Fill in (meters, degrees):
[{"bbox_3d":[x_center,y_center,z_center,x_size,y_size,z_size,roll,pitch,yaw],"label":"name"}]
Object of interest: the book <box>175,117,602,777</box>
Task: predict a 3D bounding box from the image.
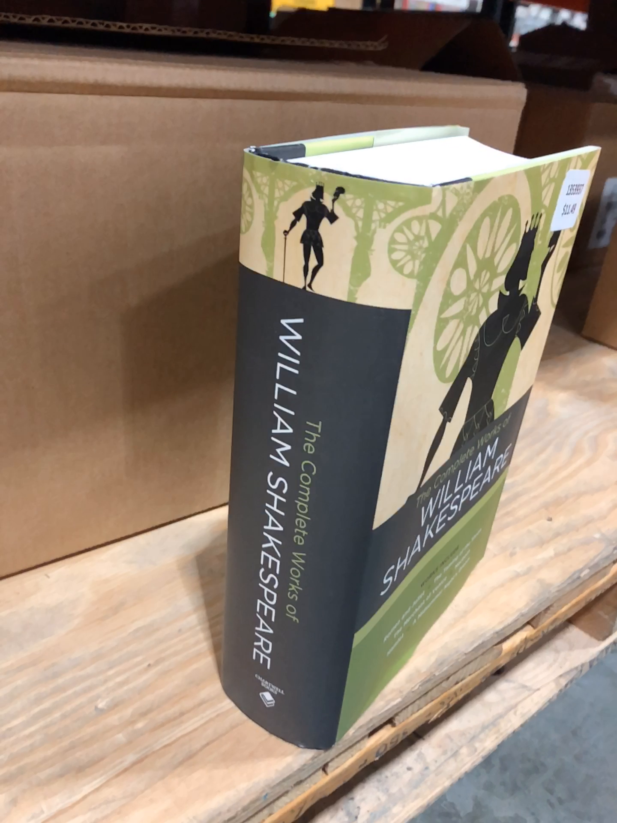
[{"bbox_3d":[0.034,0.003,0.316,0.080,0.239,0.182,24,33,27],"label":"book"}]
